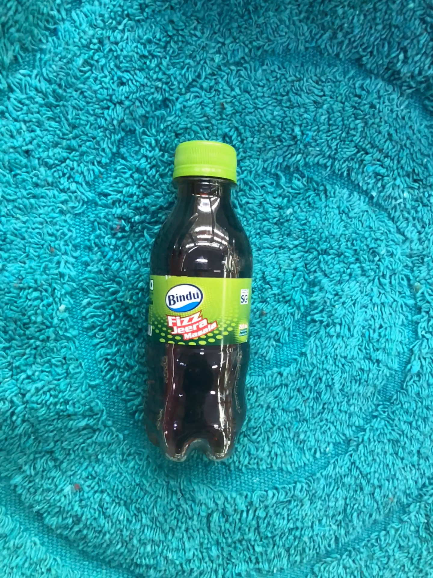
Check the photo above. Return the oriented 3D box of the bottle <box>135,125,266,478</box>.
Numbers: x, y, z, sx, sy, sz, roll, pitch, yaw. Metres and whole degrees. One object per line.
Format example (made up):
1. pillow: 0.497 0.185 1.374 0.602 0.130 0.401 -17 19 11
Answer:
1. bottle: -0.009 0.006 0.231 0.050 0.050 0.150 2 97 -2
